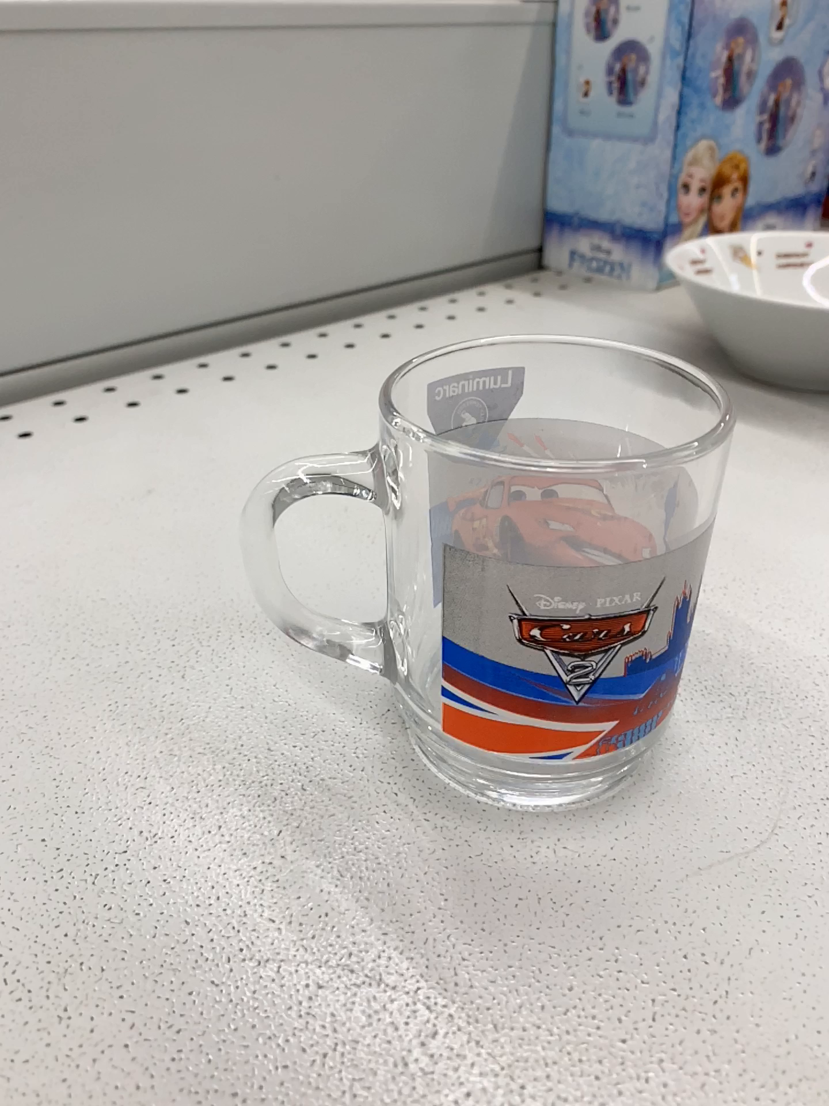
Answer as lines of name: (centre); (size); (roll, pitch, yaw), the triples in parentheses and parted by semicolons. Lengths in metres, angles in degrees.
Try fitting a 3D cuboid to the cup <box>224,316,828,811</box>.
cup: (0.021, 0.000, 0.189); (0.101, 0.081, 0.072); (0, 32, 1)
